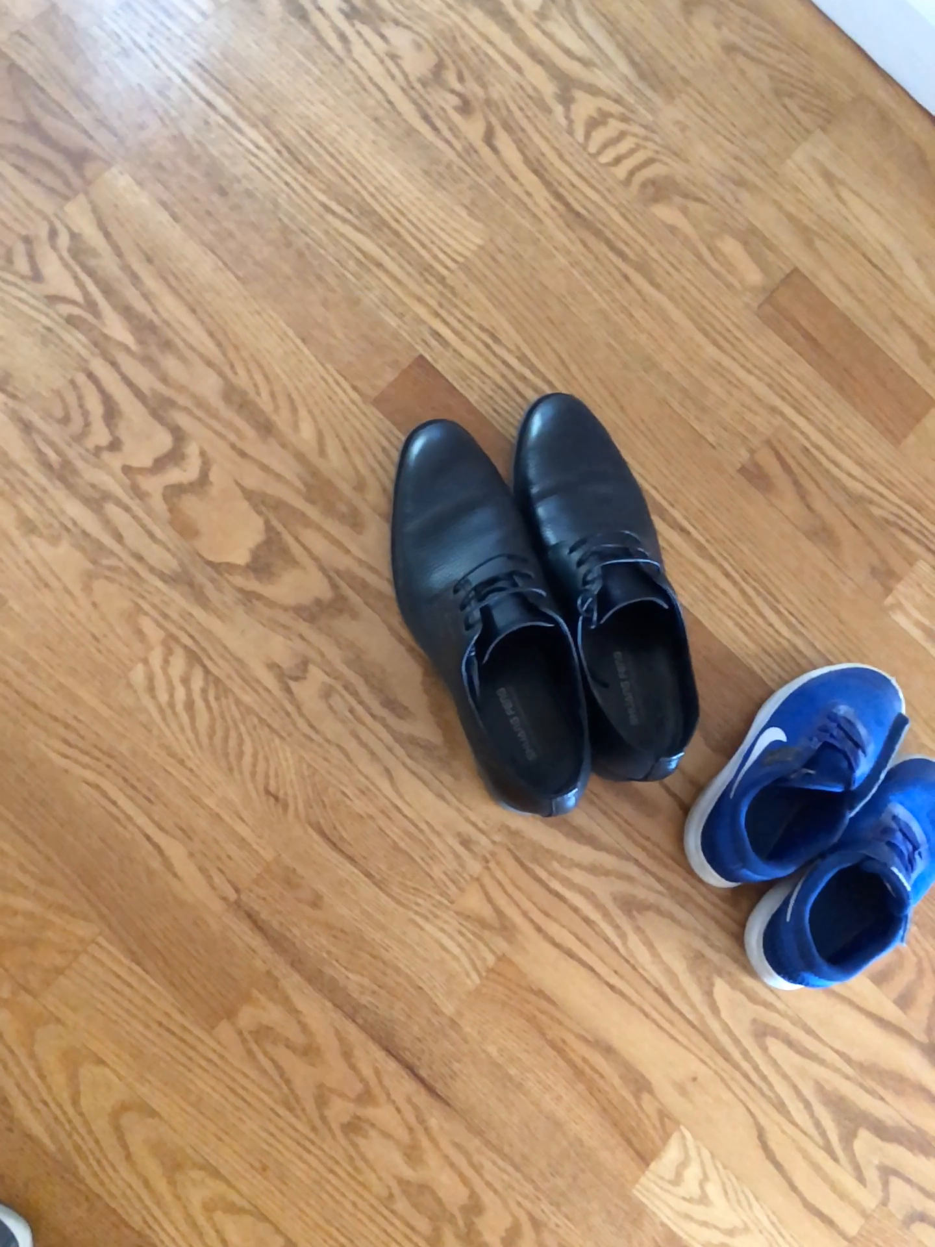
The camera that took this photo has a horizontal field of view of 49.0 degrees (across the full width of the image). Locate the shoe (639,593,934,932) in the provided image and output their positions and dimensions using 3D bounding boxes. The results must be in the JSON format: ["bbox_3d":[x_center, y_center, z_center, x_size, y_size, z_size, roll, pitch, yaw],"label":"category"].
[{"bbox_3d":[0.261,0.102,0.764,0.230,0.130,0.100,-42,88,-13],"label":"shoe"}]

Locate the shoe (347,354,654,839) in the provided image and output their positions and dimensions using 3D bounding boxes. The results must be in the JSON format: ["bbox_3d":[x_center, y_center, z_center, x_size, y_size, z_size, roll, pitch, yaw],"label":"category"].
[{"bbox_3d":[0.016,-0.018,0.749,0.120,0.090,0.320,-16,83,-11],"label":"shoe"}]

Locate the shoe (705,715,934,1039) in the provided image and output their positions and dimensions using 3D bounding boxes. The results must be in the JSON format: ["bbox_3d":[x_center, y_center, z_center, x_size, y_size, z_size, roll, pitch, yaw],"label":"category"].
[{"bbox_3d":[0.298,0.186,0.777,0.100,0.070,0.220,45,77,1],"label":"shoe"}]

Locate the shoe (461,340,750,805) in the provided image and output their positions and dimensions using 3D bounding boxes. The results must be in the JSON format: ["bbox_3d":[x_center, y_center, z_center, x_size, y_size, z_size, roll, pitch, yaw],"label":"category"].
[{"bbox_3d":[0.096,-0.036,0.770,0.120,0.090,0.320,-12,82,-10],"label":"shoe"}]
